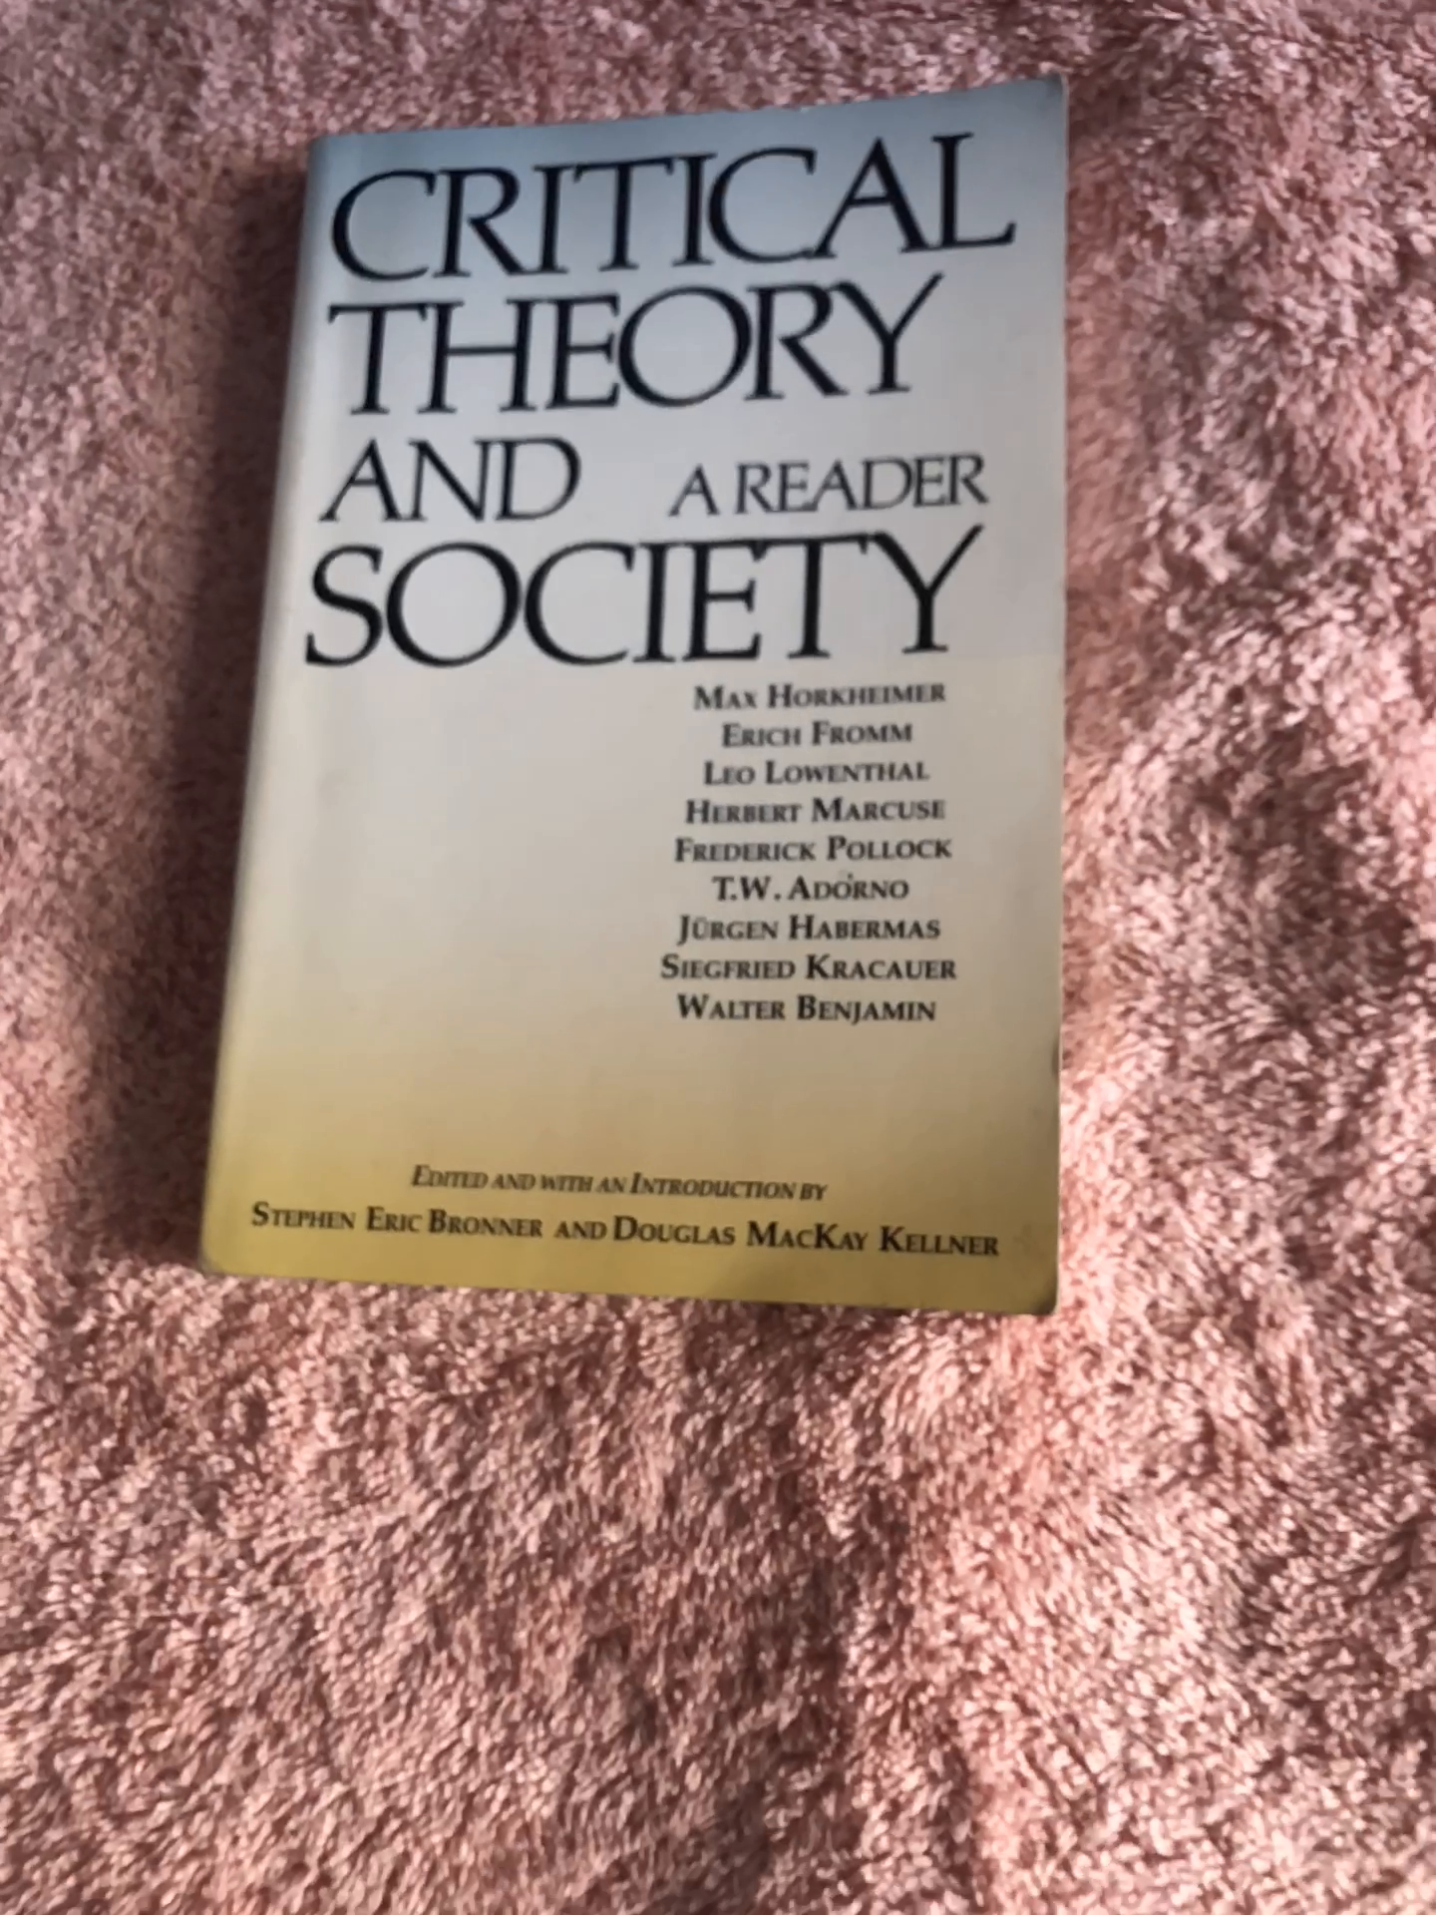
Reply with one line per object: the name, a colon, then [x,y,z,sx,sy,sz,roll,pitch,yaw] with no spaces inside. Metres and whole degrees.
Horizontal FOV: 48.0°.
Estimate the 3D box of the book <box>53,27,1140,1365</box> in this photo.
book: [-0.013,-0.050,0.297,0.170,0.050,0.230,2,78,8]
